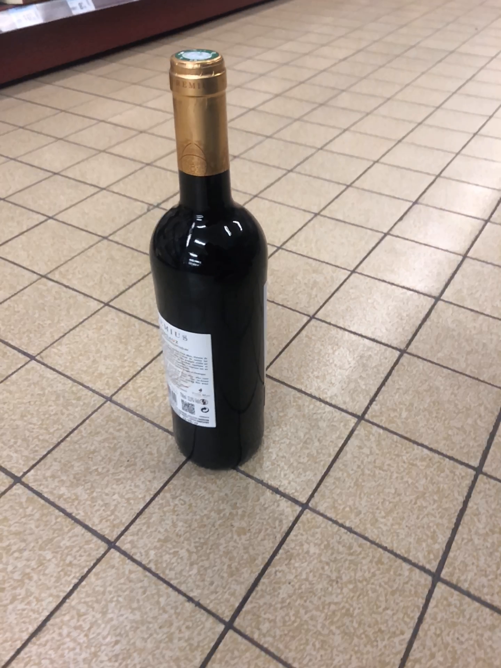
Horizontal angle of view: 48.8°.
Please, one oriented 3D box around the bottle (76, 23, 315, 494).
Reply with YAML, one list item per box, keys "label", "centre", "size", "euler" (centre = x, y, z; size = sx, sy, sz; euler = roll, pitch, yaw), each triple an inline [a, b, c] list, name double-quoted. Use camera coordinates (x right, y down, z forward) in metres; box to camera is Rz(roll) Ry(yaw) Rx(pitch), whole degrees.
- label: "bottle"
  centre: [-0.028, -0.030, 0.366]
  size: [0.080, 0.288, 0.090]
  euler: [-30, 48, -31]
